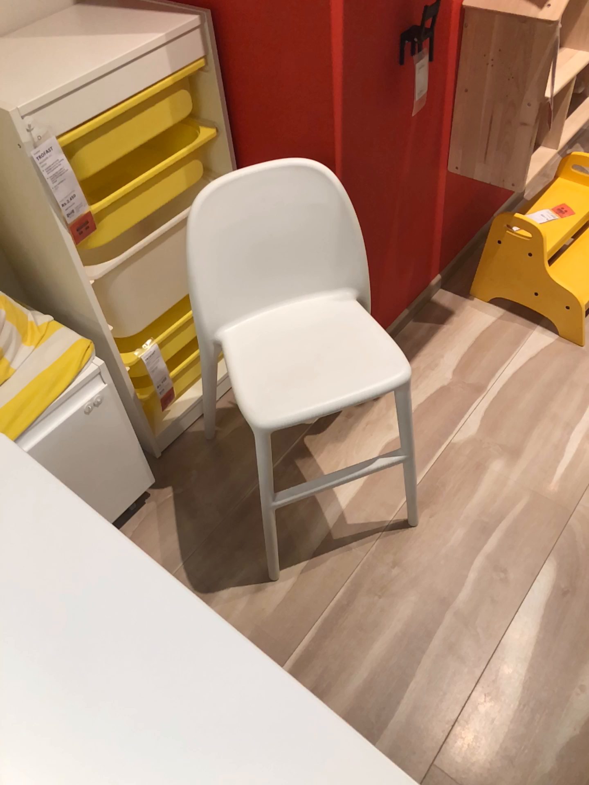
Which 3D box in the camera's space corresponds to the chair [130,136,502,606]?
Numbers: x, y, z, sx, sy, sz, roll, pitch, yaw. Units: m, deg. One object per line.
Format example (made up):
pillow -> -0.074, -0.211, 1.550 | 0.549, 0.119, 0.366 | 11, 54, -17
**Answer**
chair -> 0.025, -0.007, 1.250 | 0.420, 0.706, 0.463 | -19, 52, -11
